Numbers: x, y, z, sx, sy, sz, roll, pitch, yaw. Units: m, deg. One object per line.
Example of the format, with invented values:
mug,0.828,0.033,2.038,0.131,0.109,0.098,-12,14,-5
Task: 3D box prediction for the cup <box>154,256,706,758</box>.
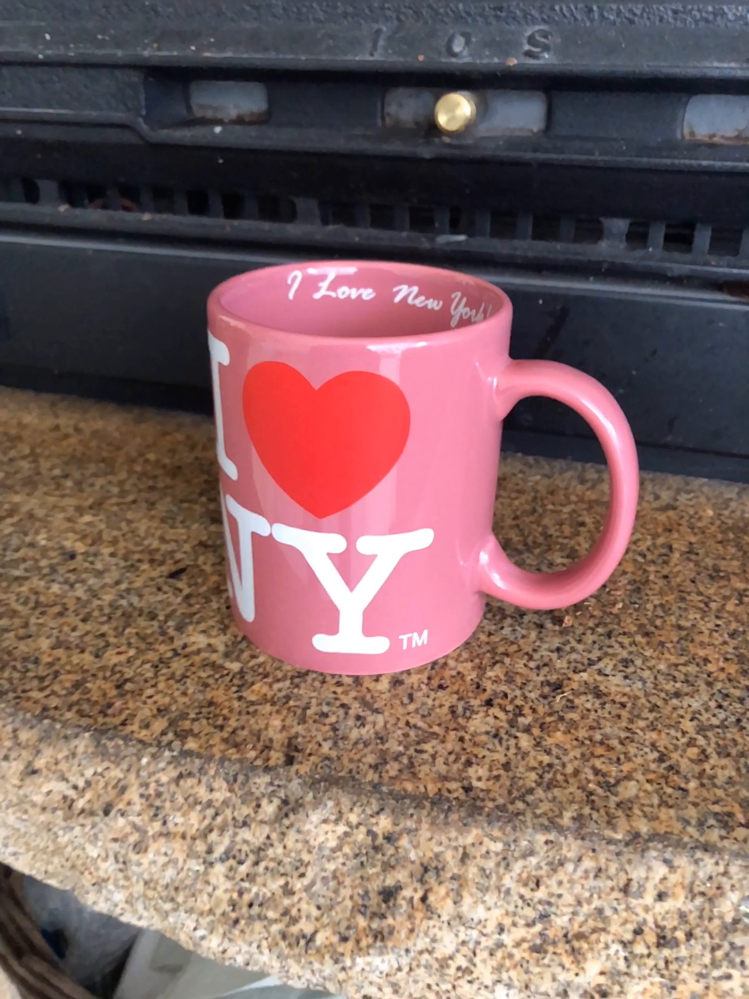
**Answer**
cup,0.018,-0.006,0.241,0.120,0.099,0.091,7,28,12
